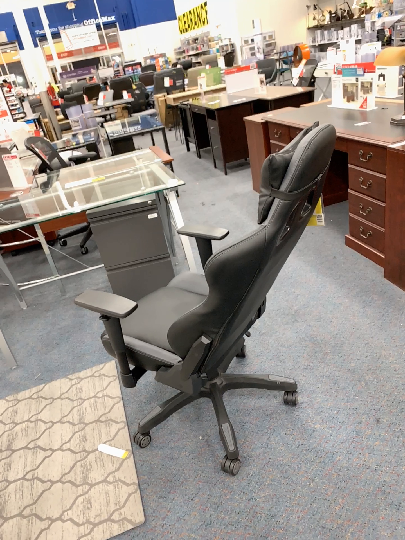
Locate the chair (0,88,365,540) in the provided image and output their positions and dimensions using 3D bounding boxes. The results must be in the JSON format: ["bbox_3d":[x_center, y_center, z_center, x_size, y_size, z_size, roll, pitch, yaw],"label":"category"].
[{"bbox_3d":[-0.008,0.058,1.434,0.913,1.062,0.787,8,33,33],"label":"chair"}]
